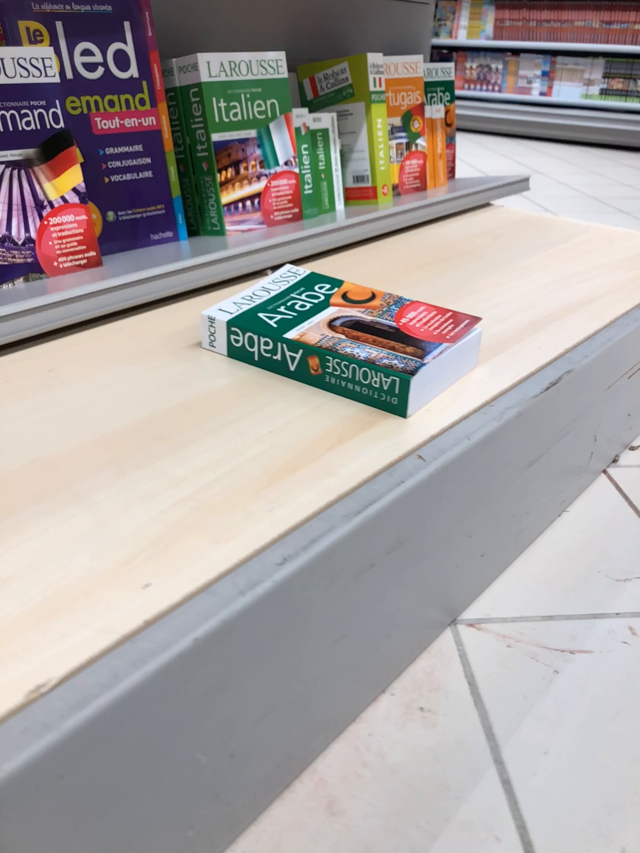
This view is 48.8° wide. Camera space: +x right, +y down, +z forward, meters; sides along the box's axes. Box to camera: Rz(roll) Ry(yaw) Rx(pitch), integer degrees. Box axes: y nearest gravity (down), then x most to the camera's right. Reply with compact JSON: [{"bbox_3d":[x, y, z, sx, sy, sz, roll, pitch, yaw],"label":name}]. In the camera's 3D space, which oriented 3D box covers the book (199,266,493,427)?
[{"bbox_3d":[0.017,-0.067,0.521,0.182,0.045,0.111,21,33,31],"label":"book"}]
